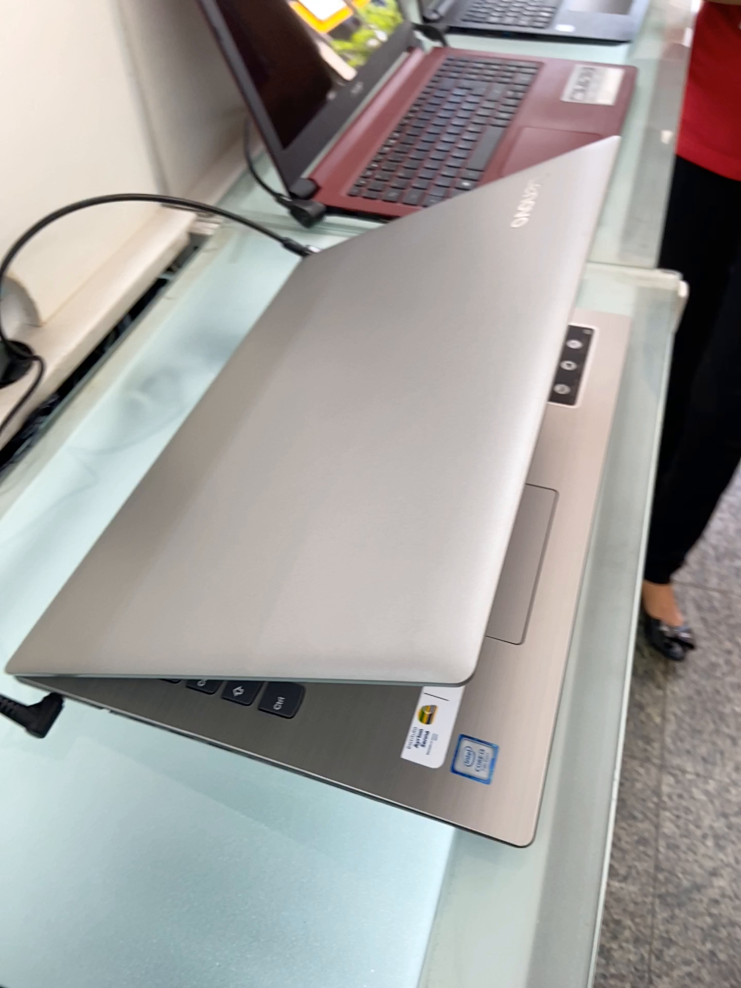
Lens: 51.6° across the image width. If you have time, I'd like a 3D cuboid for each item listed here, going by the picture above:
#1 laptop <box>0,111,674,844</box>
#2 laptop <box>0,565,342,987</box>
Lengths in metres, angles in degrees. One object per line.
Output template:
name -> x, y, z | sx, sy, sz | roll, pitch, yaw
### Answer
laptop -> 0.005, -0.058, 0.411 | 0.246, 0.114, 0.371 | 13, 51, 14
laptop -> -0.261, 0.237, 0.085 | 0.400, 0.211, 0.356 | 10, 47, 12
